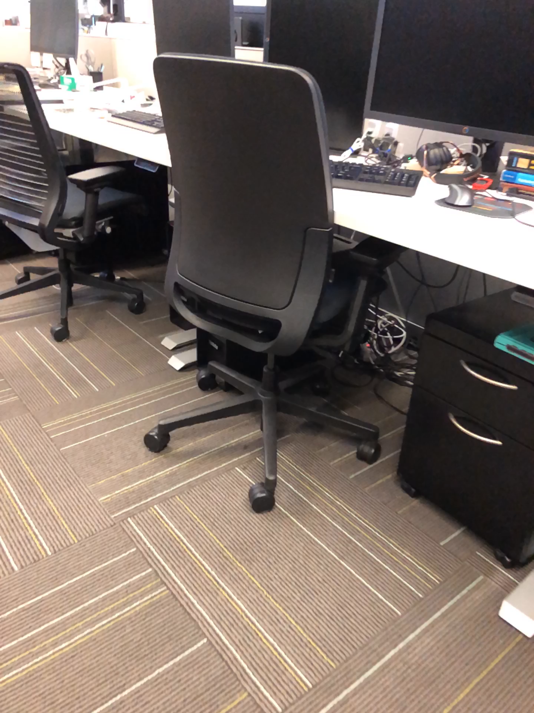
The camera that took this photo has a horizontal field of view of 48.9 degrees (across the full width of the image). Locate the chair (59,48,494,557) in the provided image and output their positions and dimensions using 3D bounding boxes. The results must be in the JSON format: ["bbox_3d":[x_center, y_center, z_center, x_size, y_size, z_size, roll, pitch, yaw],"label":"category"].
[{"bbox_3d":[0.013,-0.226,1.601,0.712,1.044,0.722,24,34,35],"label":"chair"}]
